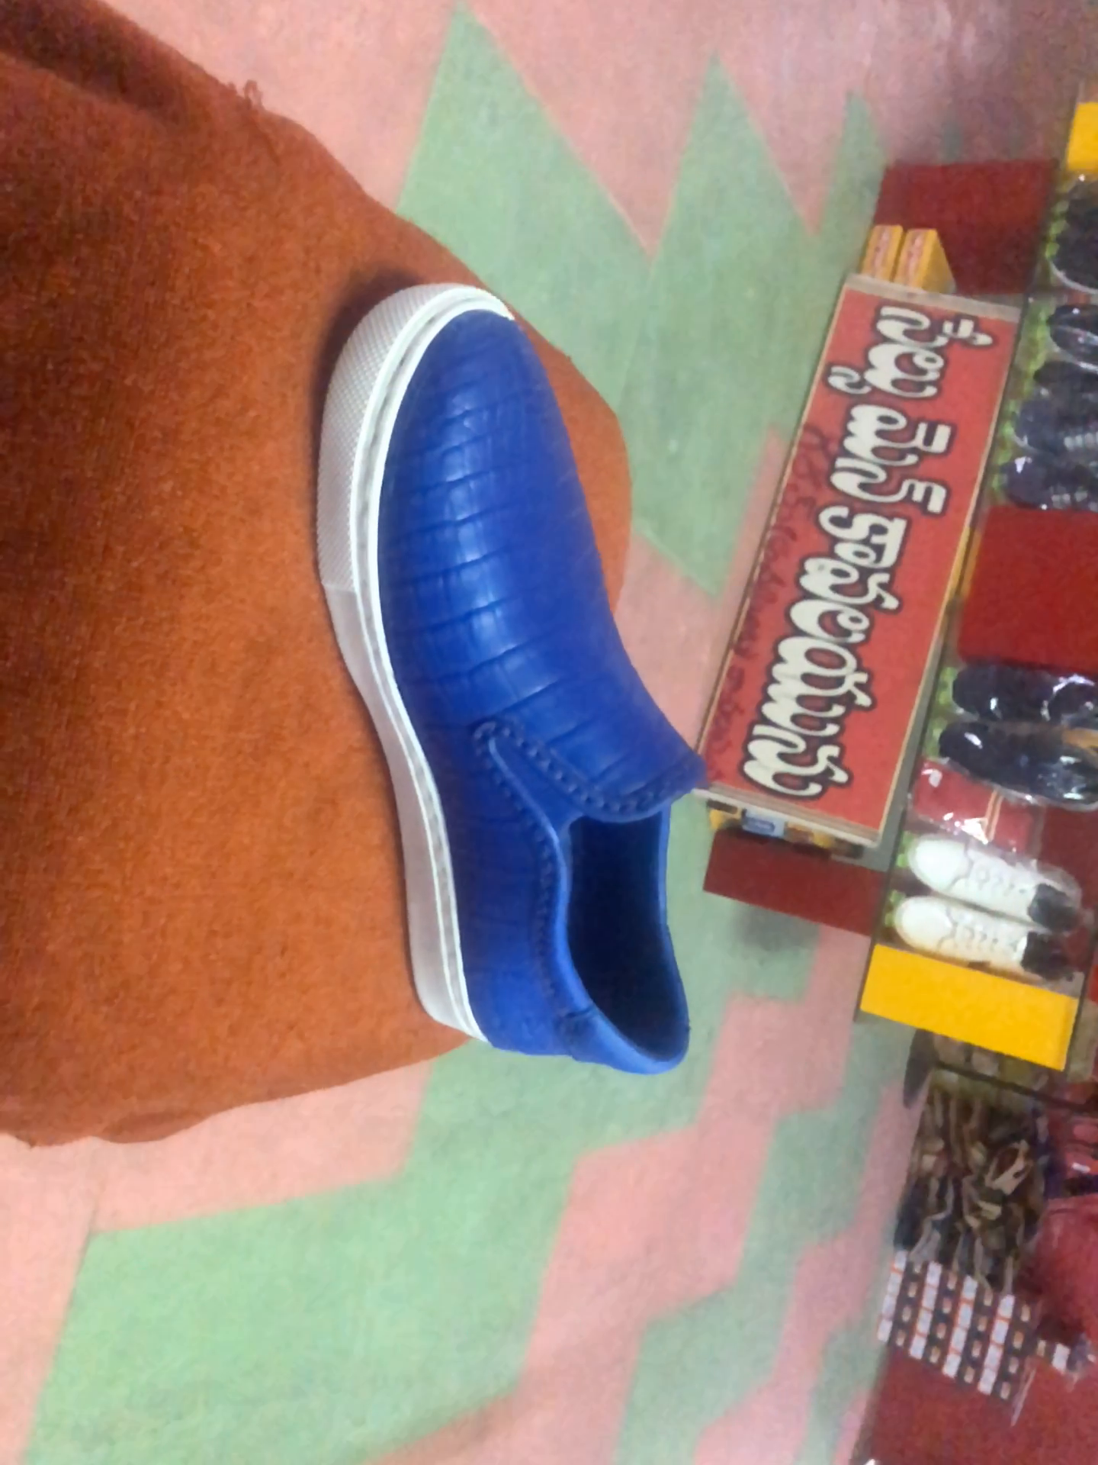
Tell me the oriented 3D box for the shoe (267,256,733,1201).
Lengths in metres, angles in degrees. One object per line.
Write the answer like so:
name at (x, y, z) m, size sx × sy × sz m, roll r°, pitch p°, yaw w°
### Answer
shoe at (0.000, 0.003, 0.422) m, size 0.111 × 0.079 × 0.301 m, roll -39°, pitch 132°, yaw -47°
